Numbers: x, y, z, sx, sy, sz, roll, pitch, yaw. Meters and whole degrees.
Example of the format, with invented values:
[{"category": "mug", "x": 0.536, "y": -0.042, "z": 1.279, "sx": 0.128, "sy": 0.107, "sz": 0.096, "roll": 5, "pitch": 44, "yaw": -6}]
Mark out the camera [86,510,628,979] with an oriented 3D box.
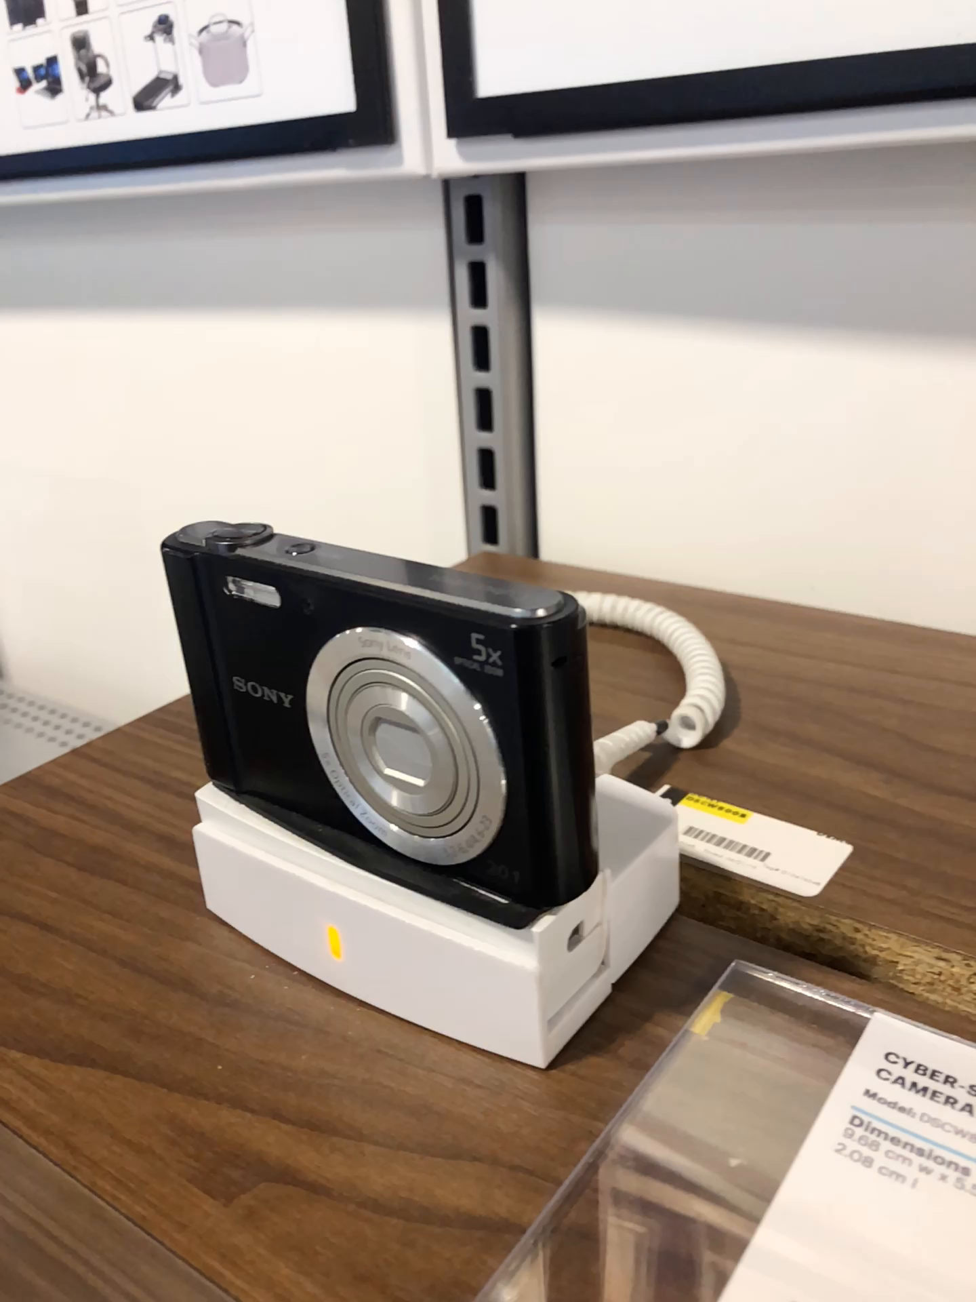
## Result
[{"category": "camera", "x": -0.026, "y": 0.009, "z": 0.191, "sx": 0.100, "sy": 0.050, "sz": 0.030, "roll": 15, "pitch": 28, "yaw": 38}]
